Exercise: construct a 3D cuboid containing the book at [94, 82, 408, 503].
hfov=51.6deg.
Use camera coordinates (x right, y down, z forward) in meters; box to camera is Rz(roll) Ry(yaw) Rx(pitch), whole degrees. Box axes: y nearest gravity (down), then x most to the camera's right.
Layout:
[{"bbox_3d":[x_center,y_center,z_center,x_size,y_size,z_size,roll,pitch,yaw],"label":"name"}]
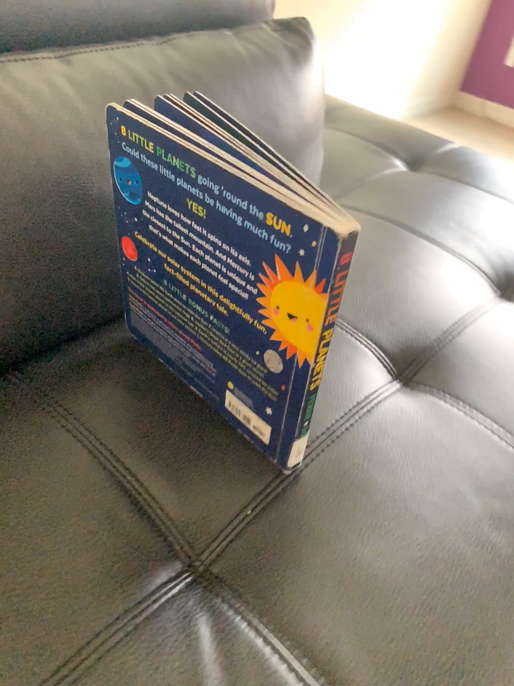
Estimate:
[{"bbox_3d":[-0.023,-0.039,0.383,0.079,0.211,0.208,-24,50,-28],"label":"book"}]
